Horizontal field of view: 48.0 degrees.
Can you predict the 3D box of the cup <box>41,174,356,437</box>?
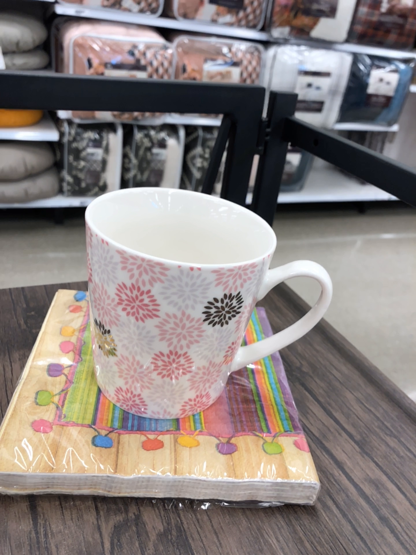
[{"bbox_3d":[-0.008,0.012,0.274,0.140,0.100,0.100,7,29,-2],"label":"cup"}]
